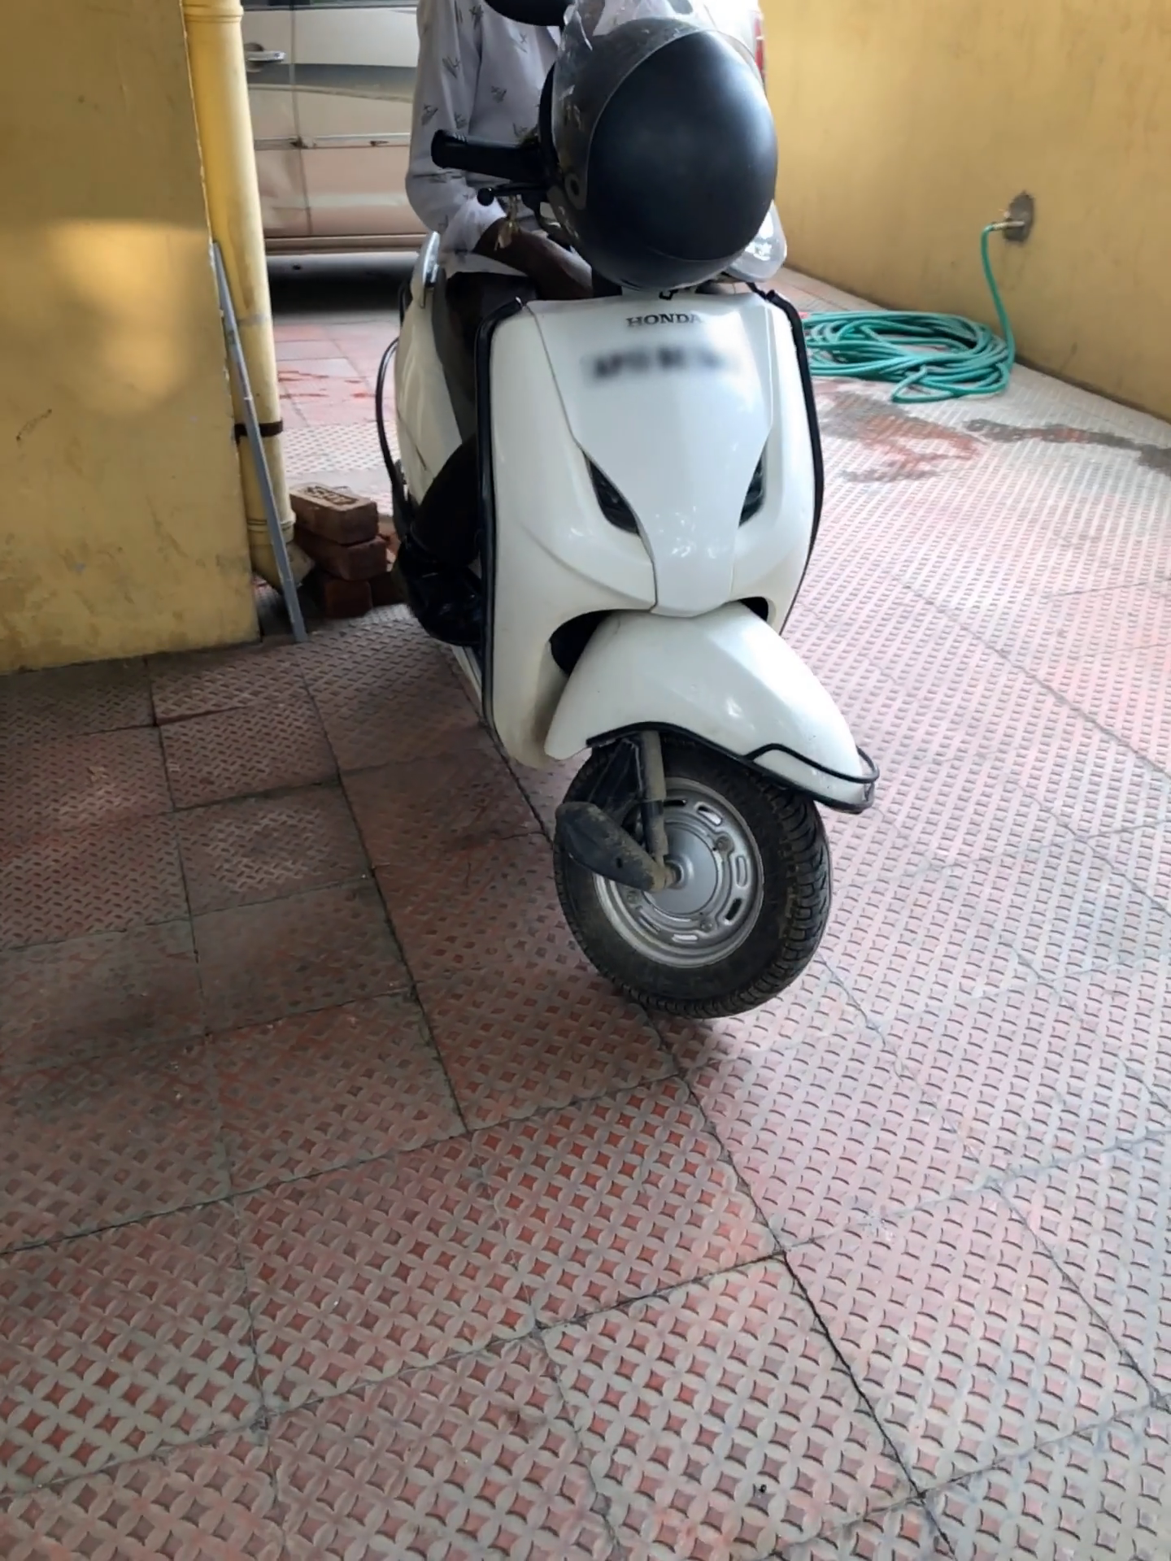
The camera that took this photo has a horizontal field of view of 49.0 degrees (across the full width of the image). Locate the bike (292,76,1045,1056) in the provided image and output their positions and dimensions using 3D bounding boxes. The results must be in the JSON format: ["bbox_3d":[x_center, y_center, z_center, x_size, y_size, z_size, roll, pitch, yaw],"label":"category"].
[{"bbox_3d":[-0.017,-0.501,2.235,0.658,1.108,1.395,-9,35,-17],"label":"bike"}]
